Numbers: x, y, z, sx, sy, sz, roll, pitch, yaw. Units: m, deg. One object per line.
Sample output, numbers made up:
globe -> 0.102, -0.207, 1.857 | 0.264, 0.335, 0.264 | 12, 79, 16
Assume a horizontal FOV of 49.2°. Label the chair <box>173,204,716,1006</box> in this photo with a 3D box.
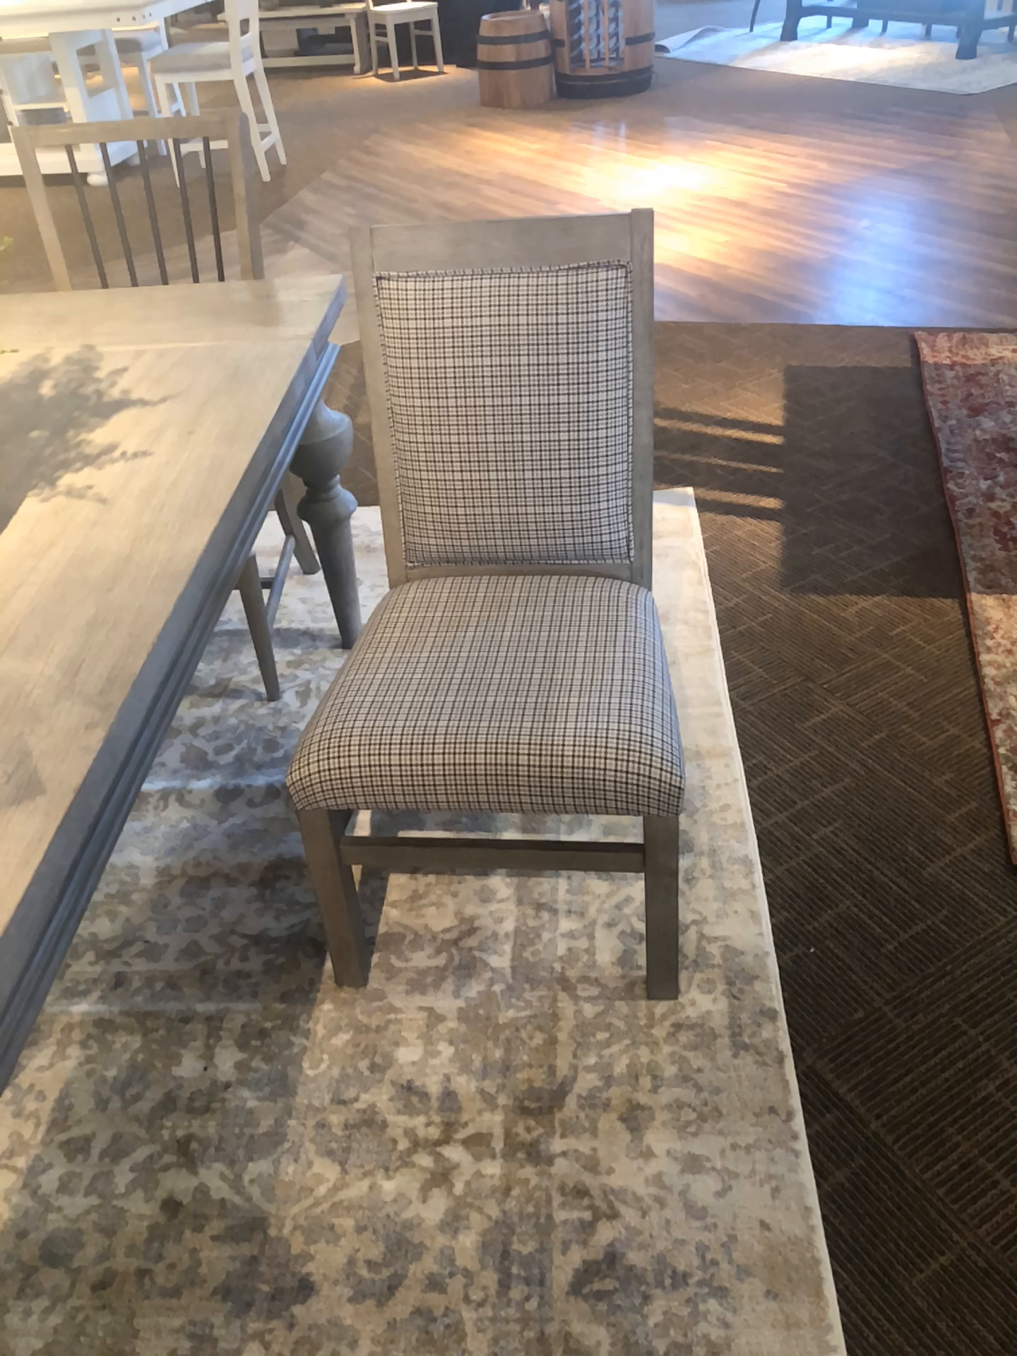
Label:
chair -> 0.002, -0.105, 1.545 | 0.510, 0.865, 0.663 | 0, 37, 8
